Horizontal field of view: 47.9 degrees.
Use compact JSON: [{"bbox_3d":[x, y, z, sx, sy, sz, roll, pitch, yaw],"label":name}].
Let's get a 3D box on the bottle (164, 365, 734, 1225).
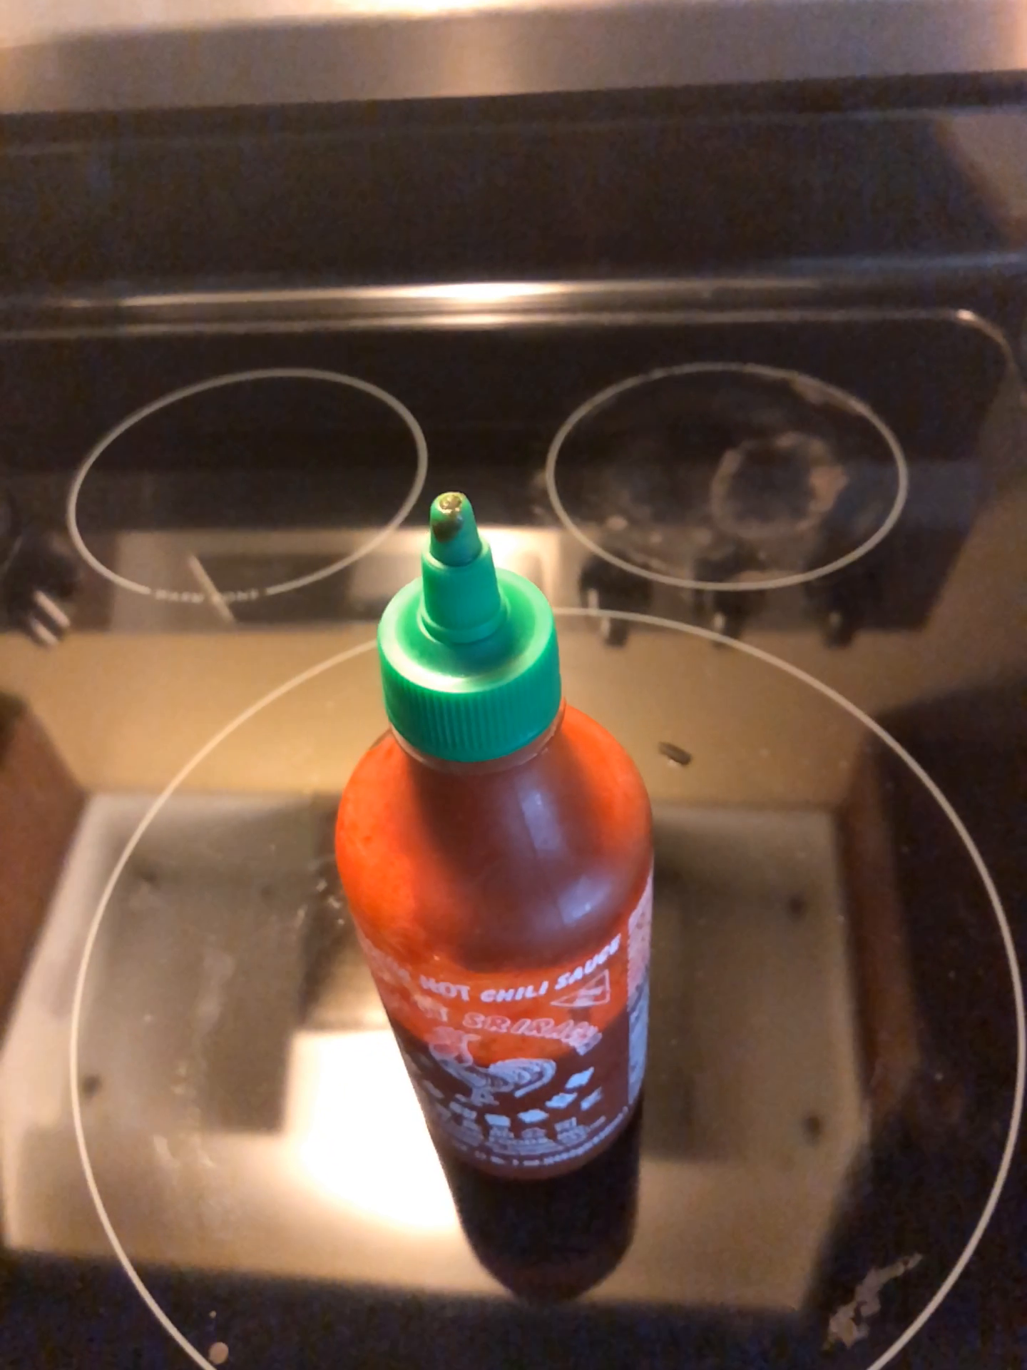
[{"bbox_3d":[0.002,0.040,0.245,0.070,0.200,0.070,-3,48,3],"label":"bottle"}]
